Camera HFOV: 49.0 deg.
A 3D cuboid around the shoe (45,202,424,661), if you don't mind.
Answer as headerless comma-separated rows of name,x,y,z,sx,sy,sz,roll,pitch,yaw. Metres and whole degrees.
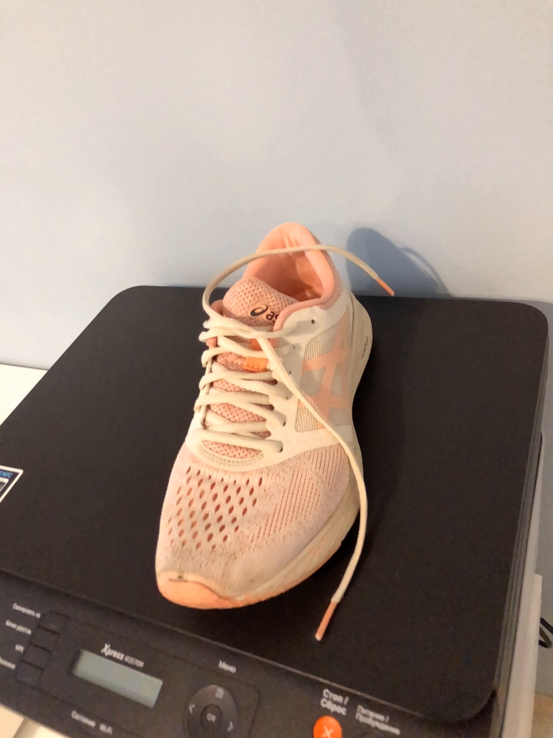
shoe,0.002,0.011,0.358,0.116,0.089,0.254,4,46,24
